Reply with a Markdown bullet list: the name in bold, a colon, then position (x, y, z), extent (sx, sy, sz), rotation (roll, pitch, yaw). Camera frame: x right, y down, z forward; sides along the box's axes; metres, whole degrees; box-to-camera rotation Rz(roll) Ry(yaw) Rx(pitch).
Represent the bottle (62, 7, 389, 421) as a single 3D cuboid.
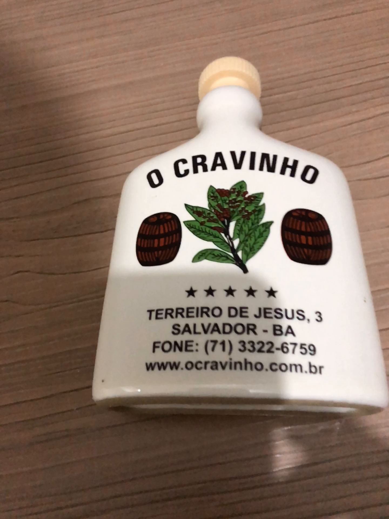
- **bottle**: position (0.015, -0.024, 0.174), extent (0.100, 0.040, 0.161), rotation (-2, 64, 7)
